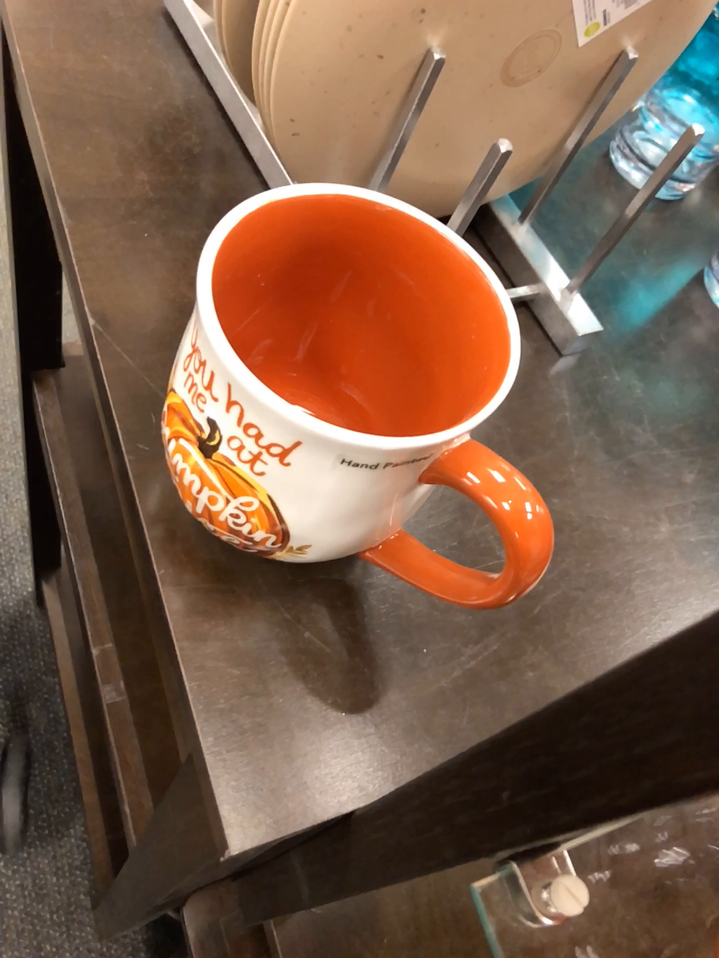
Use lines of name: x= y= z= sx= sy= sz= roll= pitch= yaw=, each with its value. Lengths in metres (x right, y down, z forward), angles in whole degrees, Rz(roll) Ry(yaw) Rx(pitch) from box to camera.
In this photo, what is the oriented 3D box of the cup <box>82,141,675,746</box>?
cup: x=-0.003 y=-0.014 z=0.261 sx=0.102 sy=0.094 sz=0.143 roll=-34 pitch=75 yaw=-34
